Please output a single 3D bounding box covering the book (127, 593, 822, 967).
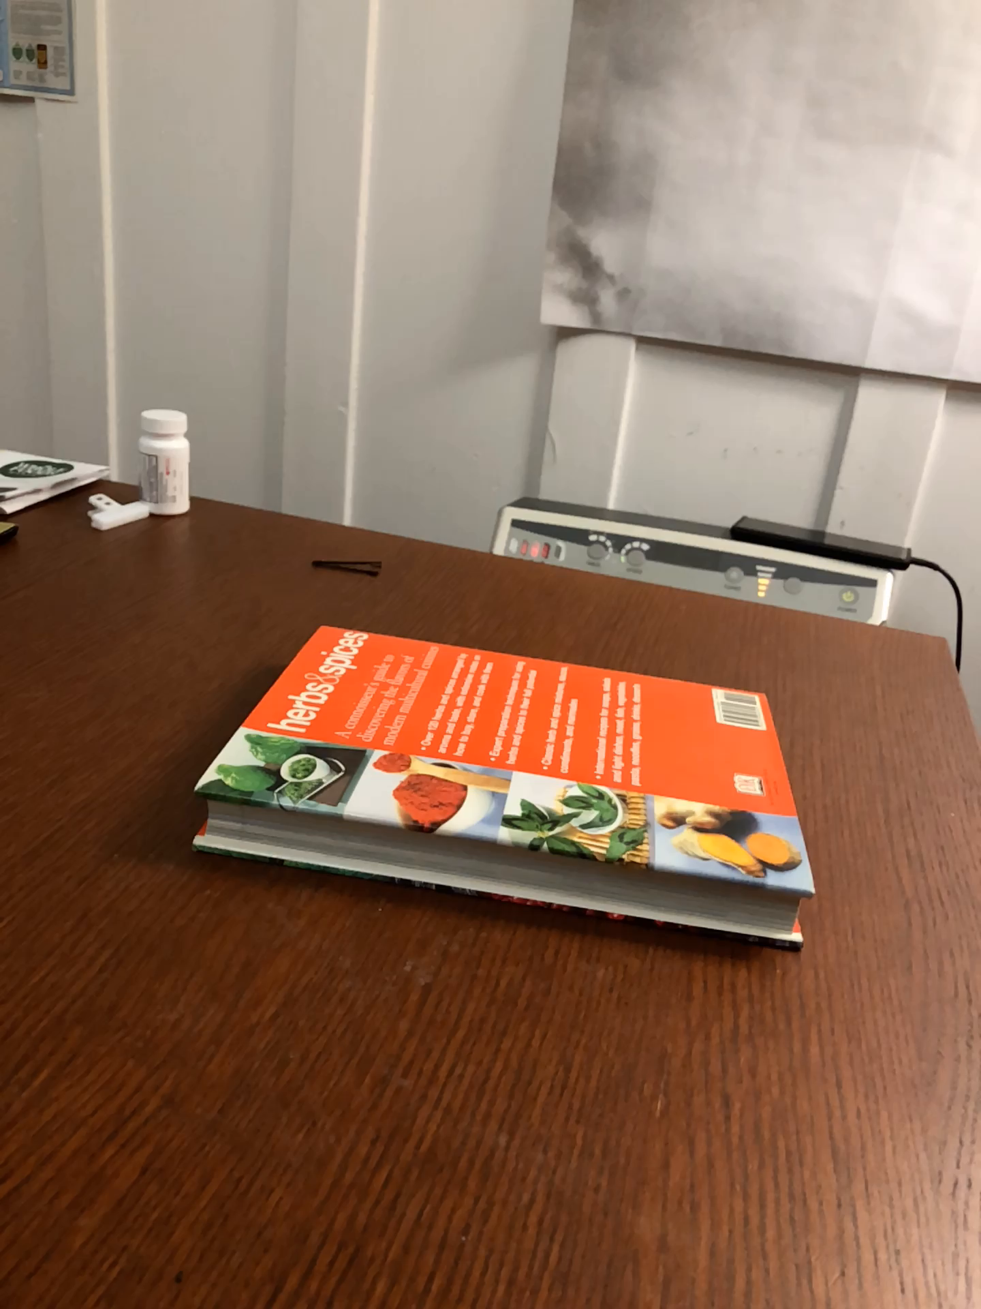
[{"bbox_3d":[0.002,0.043,0.518,0.270,0.040,0.211,9,23,4],"label":"book"}]
